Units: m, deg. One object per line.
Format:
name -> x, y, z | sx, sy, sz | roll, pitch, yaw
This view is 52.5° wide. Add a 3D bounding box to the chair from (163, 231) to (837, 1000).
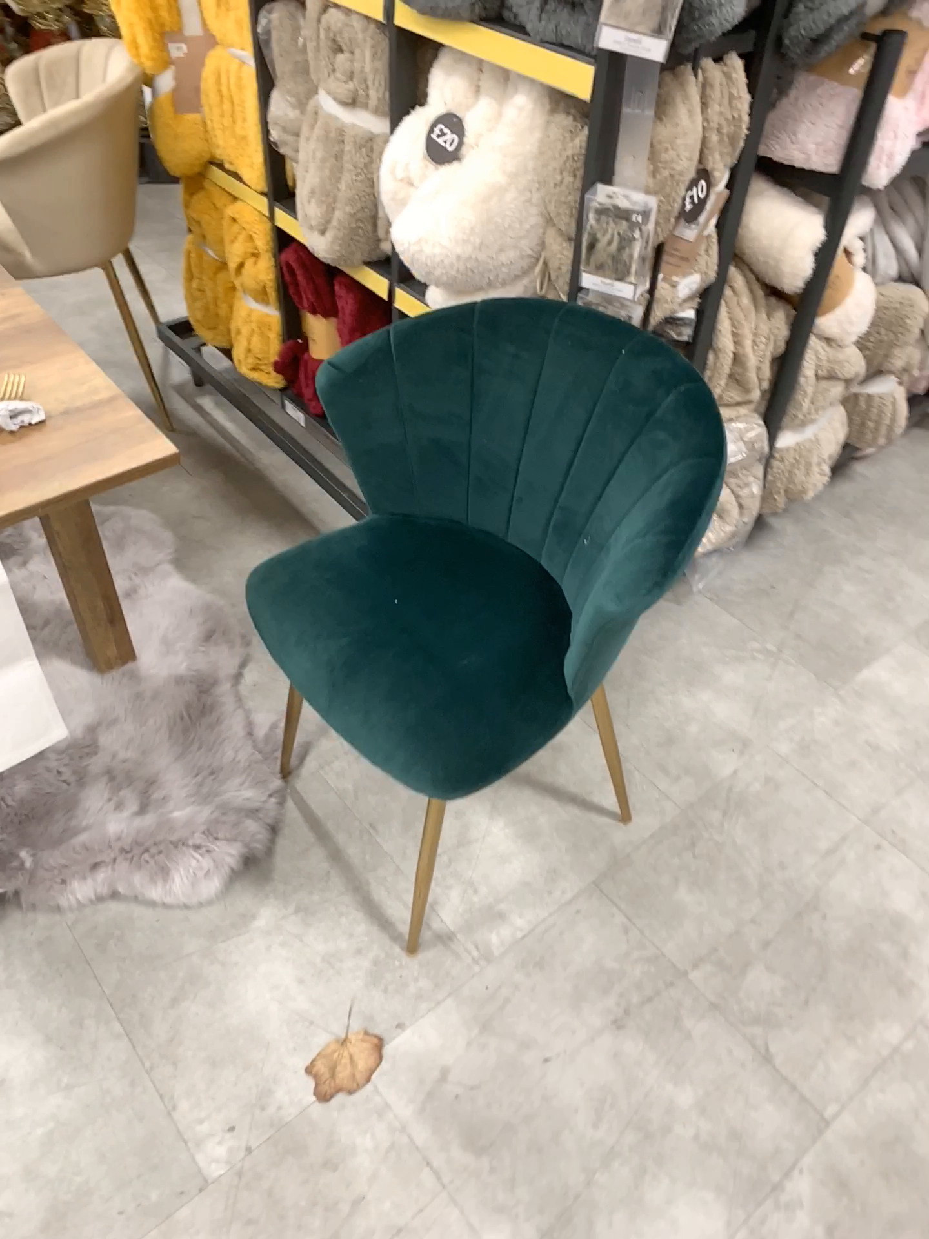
chair -> 0.013, -0.009, 1.301 | 0.526, 0.754, 0.543 | -26, 51, -26
